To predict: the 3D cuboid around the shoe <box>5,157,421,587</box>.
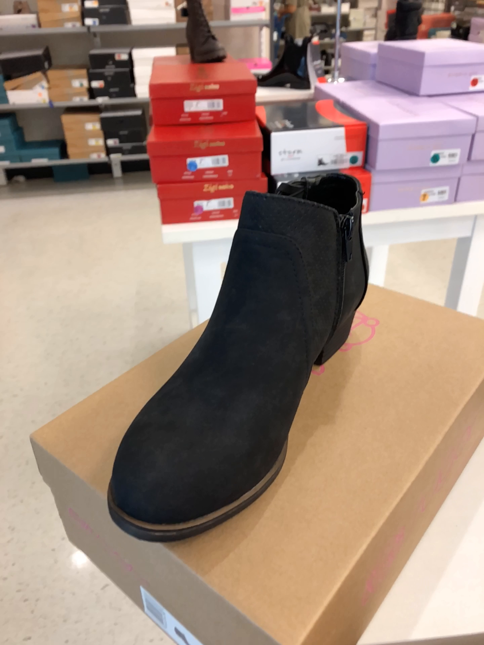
[{"bbox_3d":[0.012,-0.003,0.332,0.100,0.119,0.261,18,38,28],"label":"shoe"}]
